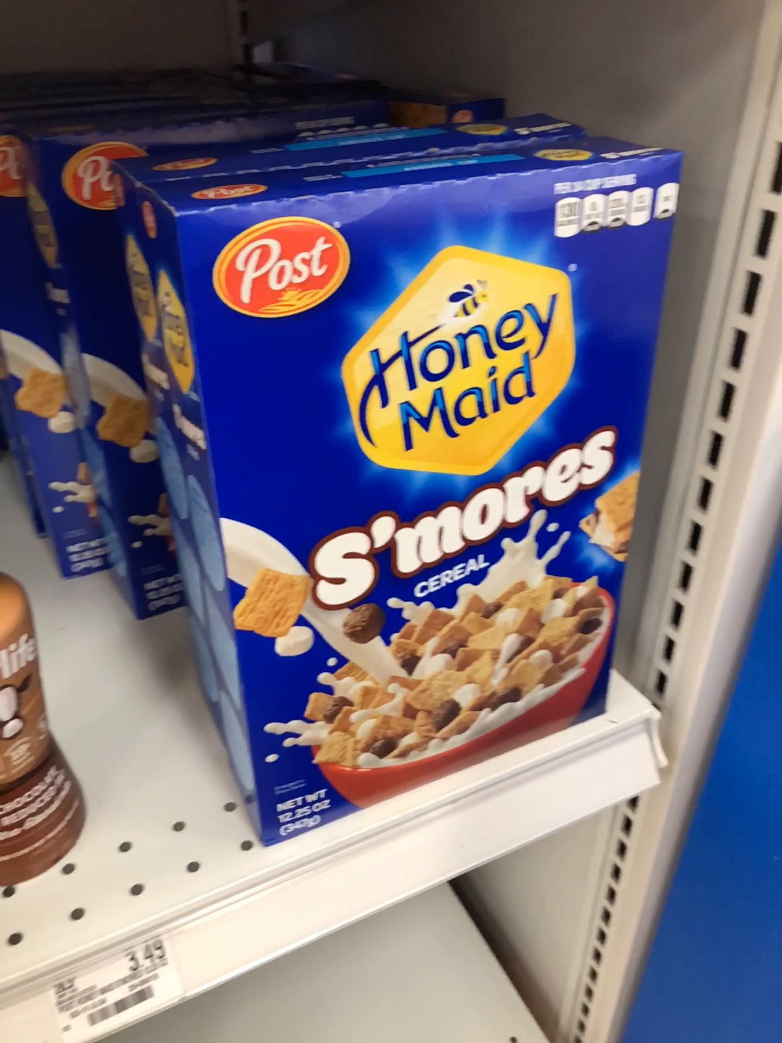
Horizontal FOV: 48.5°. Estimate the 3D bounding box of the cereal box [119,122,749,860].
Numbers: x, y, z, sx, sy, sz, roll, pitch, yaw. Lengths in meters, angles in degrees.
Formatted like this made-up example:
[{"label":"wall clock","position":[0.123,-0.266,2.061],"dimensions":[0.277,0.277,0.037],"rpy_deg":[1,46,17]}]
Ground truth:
[{"label":"cereal box","position":[0.017,-0.008,0.362],"dimensions":[0.200,0.269,0.070],"rpy_deg":[-14,36,-21]}]
